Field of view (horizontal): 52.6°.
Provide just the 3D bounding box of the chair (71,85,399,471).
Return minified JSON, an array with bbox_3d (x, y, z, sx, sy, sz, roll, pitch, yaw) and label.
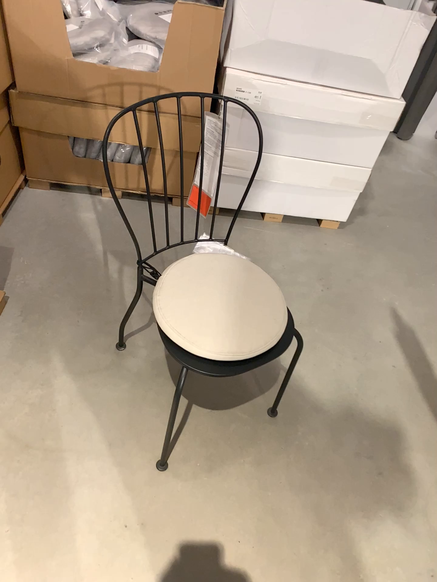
[{"bbox_3d":[-0.050,-0.016,1.186,0.481,0.817,0.521,-16,53,-26],"label":"chair"}]
